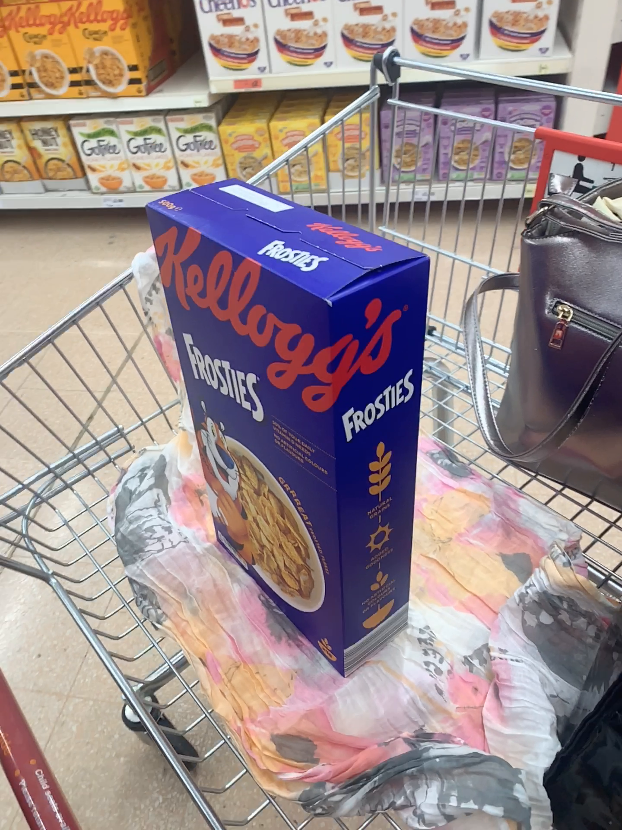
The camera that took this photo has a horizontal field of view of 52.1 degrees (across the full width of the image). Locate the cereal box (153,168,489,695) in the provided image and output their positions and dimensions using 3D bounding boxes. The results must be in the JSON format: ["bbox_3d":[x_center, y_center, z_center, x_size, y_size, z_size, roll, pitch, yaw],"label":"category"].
[{"bbox_3d":[-0.004,0.020,0.478,0.080,0.337,0.211,-28,45,-30],"label":"cereal box"}]
